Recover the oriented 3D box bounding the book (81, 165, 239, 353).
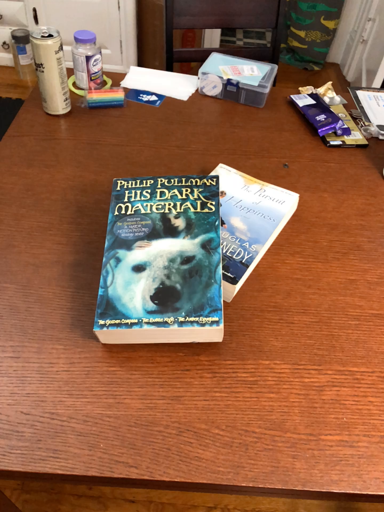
[{"bbox_3d":[-0.035,-0.004,0.543,0.170,0.060,0.241,-1,60,0],"label":"book"}]

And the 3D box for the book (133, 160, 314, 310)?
[{"bbox_3d":[0.055,-0.047,0.652,0.170,0.040,0.241,25,52,25],"label":"book"}]
